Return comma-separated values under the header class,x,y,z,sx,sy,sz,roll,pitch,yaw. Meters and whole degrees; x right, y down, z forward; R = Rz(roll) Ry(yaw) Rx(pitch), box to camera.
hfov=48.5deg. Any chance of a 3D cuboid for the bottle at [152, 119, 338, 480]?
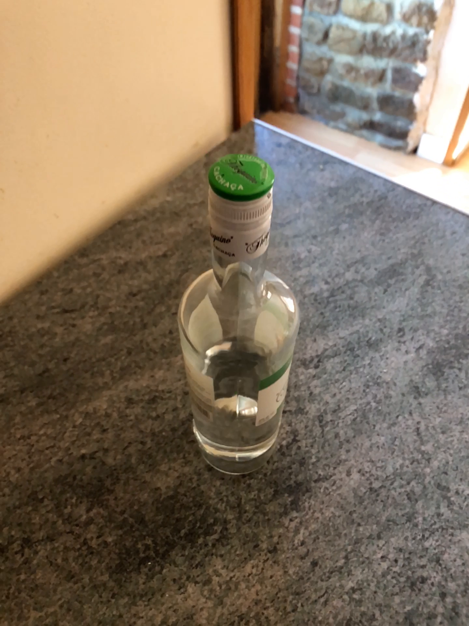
class,x,y,z,sx,sy,sz,roll,pitch,yaw
bottle,0.007,0.019,0.355,0.080,0.278,0.080,-1,50,1
